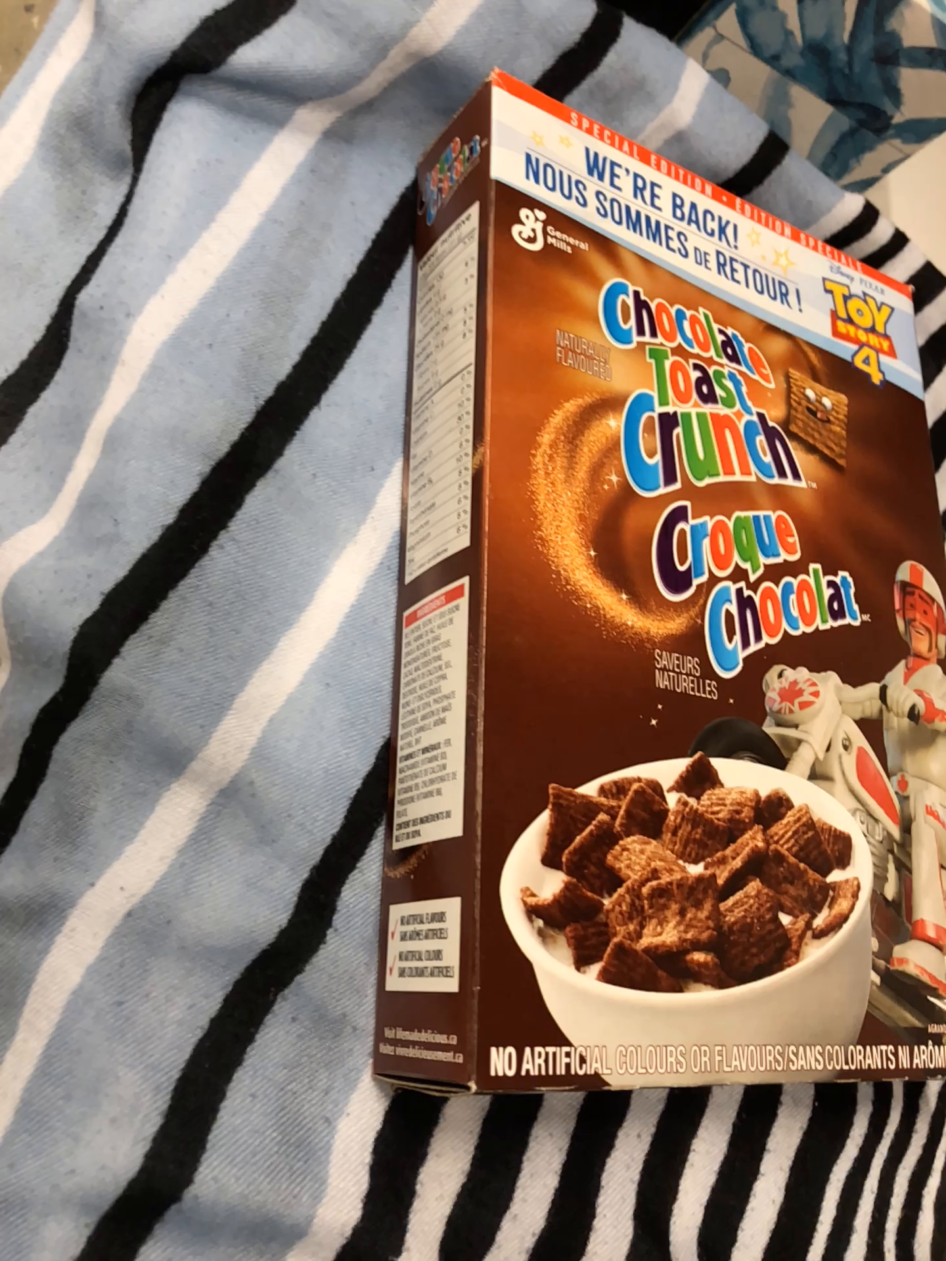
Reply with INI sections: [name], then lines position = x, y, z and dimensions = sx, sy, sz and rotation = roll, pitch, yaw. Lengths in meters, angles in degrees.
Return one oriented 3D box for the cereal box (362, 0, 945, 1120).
[cereal box]
position = 0.082, -0.016, 0.340
dimensions = 0.211, 0.060, 0.300
rotation = 12, 70, -30
